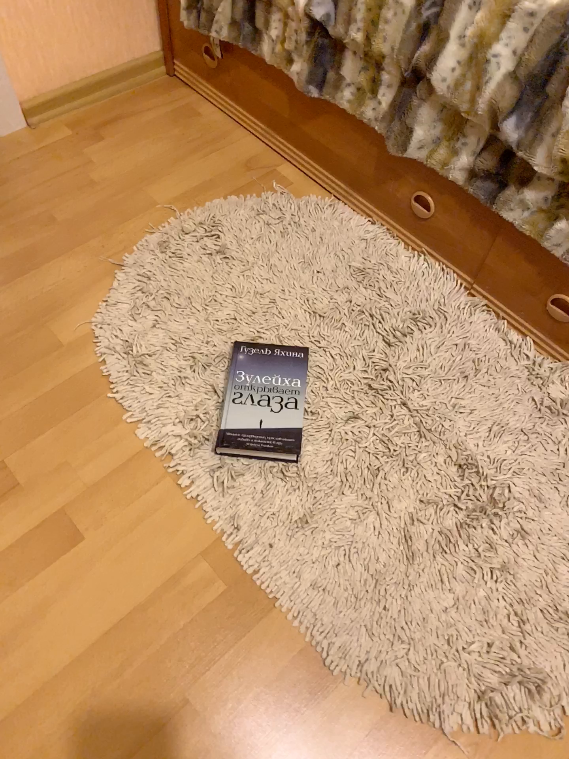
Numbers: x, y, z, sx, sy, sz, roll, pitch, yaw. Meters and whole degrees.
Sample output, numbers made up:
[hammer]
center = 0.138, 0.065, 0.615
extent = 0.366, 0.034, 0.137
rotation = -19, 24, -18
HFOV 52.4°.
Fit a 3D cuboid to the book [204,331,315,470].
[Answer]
[book]
center = -0.036, 0.029, 0.940
extent = 0.150, 0.040, 0.221
rotation = 7, 57, 0
